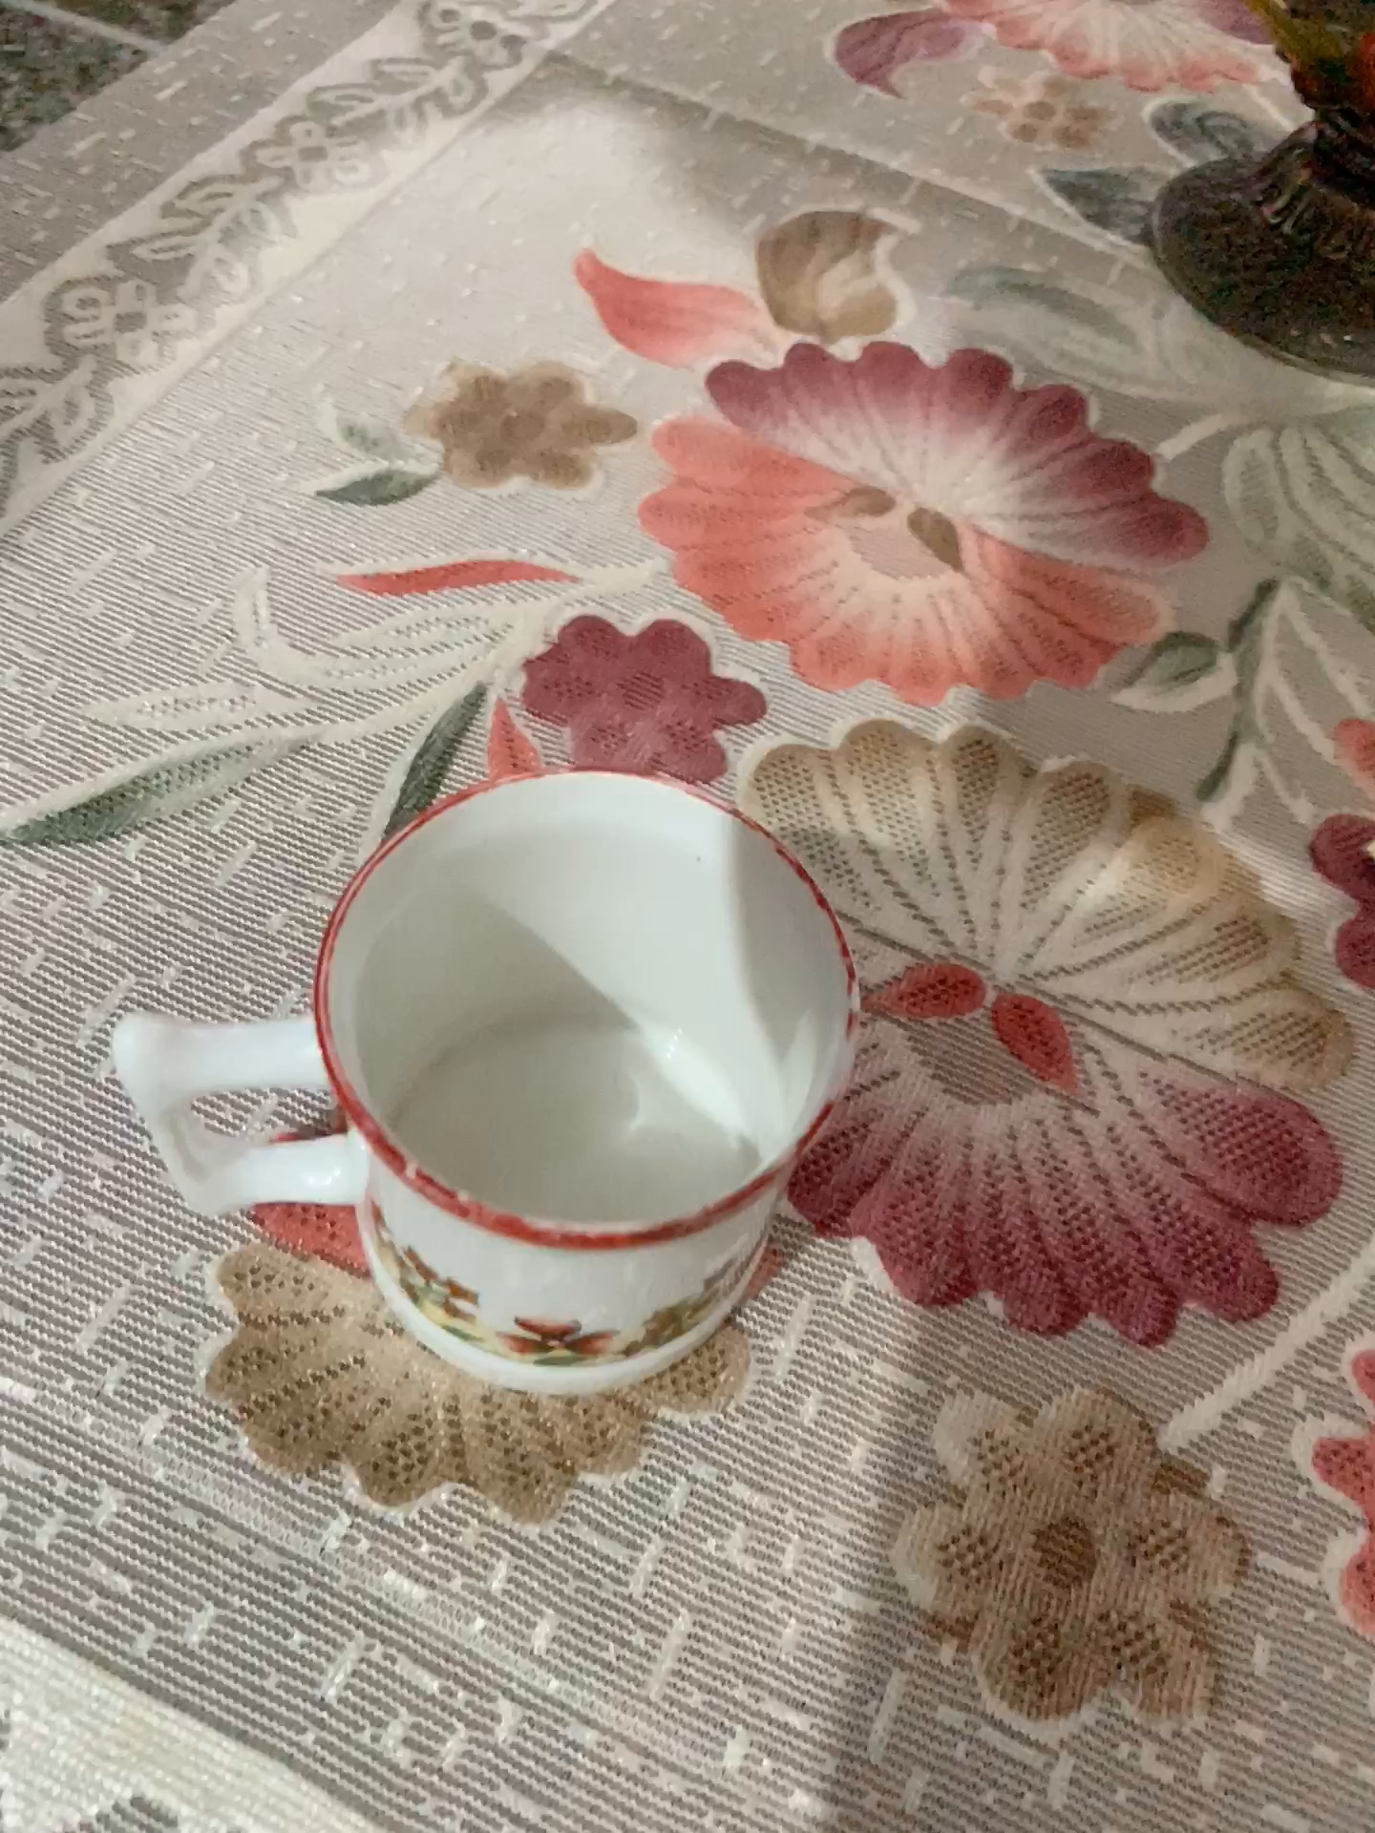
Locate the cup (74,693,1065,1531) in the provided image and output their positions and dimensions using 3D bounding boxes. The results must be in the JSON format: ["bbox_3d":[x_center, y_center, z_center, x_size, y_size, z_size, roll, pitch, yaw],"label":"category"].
[{"bbox_3d":[-0.021,0.027,0.194,0.100,0.080,0.070,-7,58,-13],"label":"cup"}]
